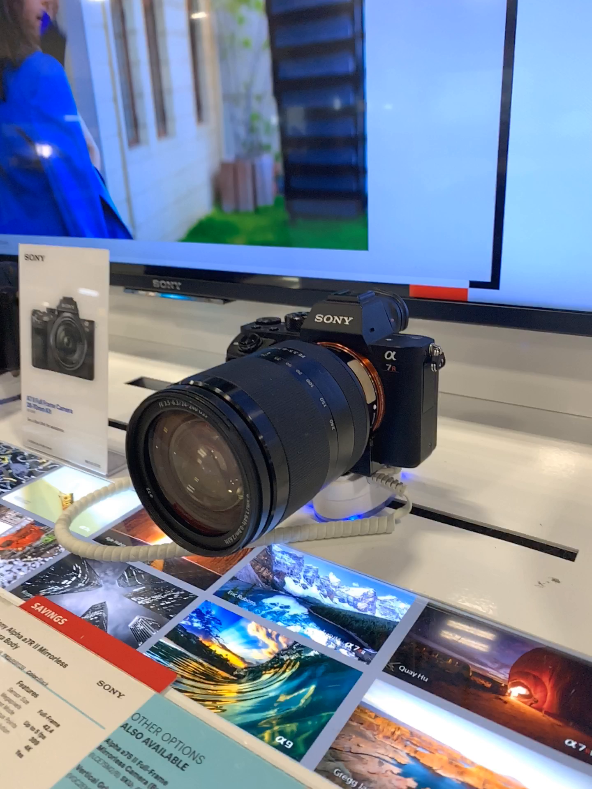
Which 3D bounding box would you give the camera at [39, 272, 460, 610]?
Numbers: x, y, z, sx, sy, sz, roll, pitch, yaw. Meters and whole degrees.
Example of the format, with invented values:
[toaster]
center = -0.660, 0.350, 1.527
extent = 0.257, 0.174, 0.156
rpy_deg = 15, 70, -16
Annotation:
[camera]
center = -0.006, 0.000, 0.321
extent = 0.128, 0.091, 0.185
rpy_deg = 9, 24, 30
